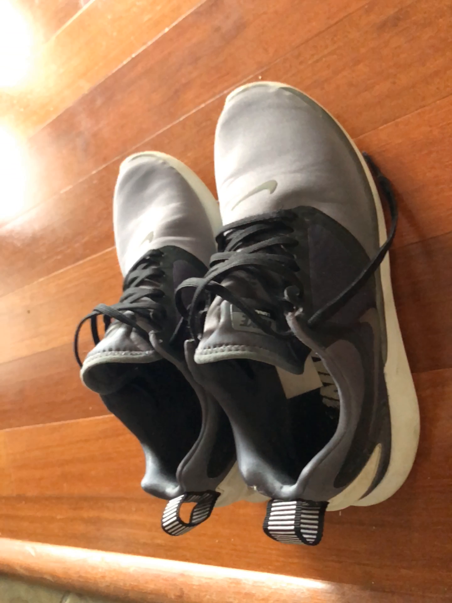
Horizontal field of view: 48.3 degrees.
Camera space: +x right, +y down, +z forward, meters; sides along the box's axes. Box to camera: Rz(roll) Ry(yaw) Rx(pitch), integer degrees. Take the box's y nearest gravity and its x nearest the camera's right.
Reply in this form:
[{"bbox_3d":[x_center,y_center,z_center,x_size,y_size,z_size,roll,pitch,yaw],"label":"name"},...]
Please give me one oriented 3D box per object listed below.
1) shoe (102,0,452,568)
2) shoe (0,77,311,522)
[{"bbox_3d":[0.027,-0.005,0.279,0.110,0.100,0.240,-16,84,37],"label":"shoe"},{"bbox_3d":[-0.052,0.002,0.337,0.110,0.100,0.240,-25,78,36],"label":"shoe"}]
